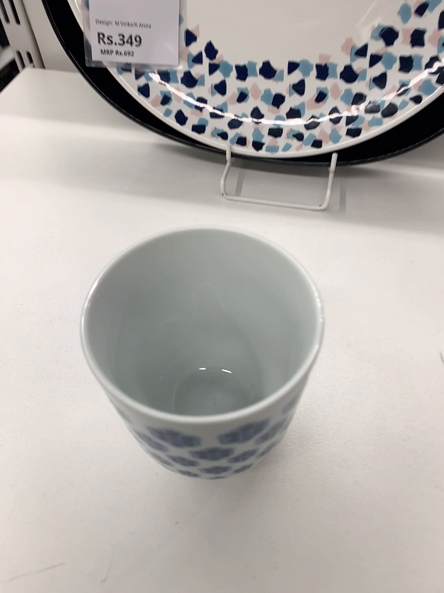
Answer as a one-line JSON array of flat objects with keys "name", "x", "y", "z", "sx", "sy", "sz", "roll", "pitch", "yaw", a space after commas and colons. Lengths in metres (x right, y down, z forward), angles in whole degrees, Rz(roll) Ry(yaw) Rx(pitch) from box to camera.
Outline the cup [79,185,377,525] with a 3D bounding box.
[{"name": "cup", "x": -0.004, "y": 0.022, "z": 0.169, "sx": 0.070, "sy": 0.080, "sz": 0.080, "roll": -13, "pitch": 52, "yaw": -10}]
